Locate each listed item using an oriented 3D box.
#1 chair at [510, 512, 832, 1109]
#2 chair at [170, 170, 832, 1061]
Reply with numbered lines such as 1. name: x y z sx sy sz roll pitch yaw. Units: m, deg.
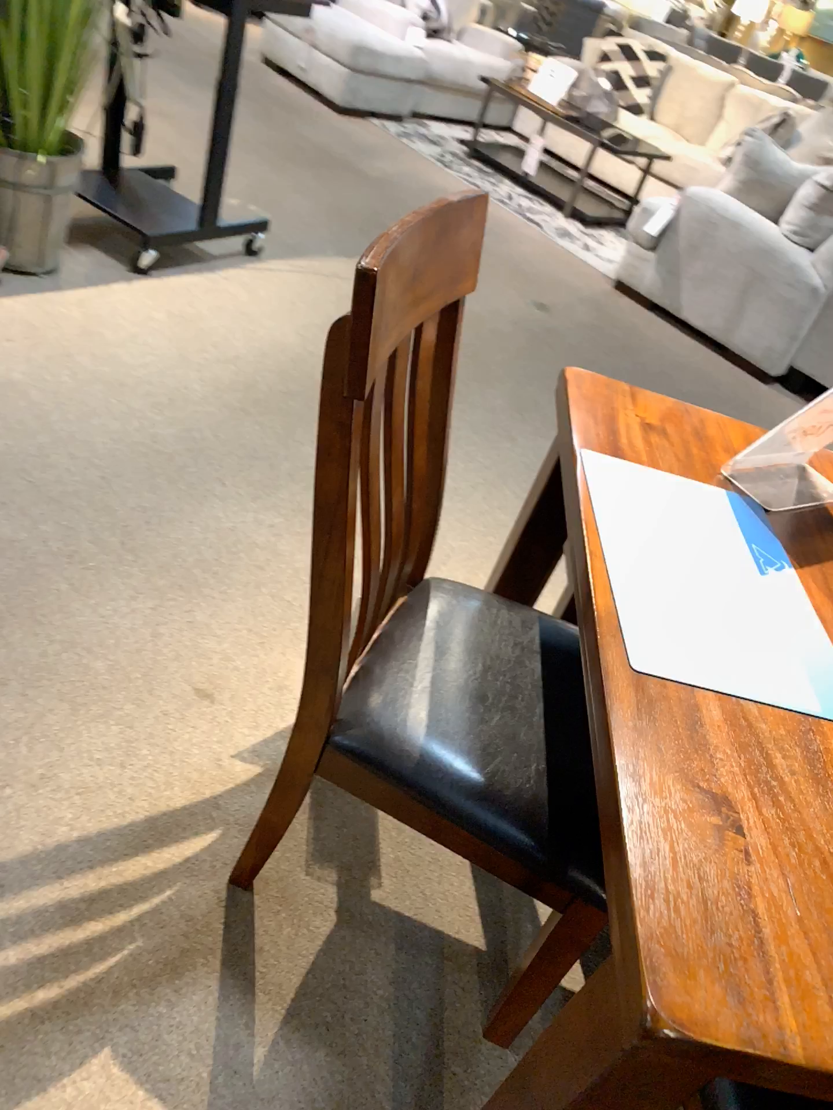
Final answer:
1. chair: 0.520 0.541 0.730 0.591 0.890 0.531 15 36 -7
2. chair: 0.112 0.087 1.114 0.539 0.890 0.534 26 36 7
